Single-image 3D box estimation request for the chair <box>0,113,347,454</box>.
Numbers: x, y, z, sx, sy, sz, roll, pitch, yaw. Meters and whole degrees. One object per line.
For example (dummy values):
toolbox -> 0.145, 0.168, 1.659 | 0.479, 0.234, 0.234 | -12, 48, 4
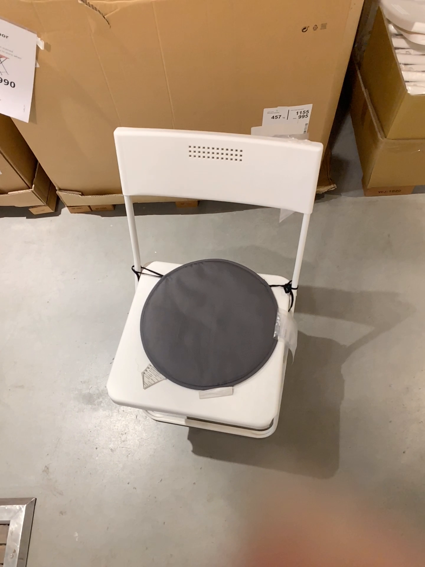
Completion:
chair -> -0.016, 0.075, 1.035 | 0.490, 0.739, 0.481 | 8, 64, 8
